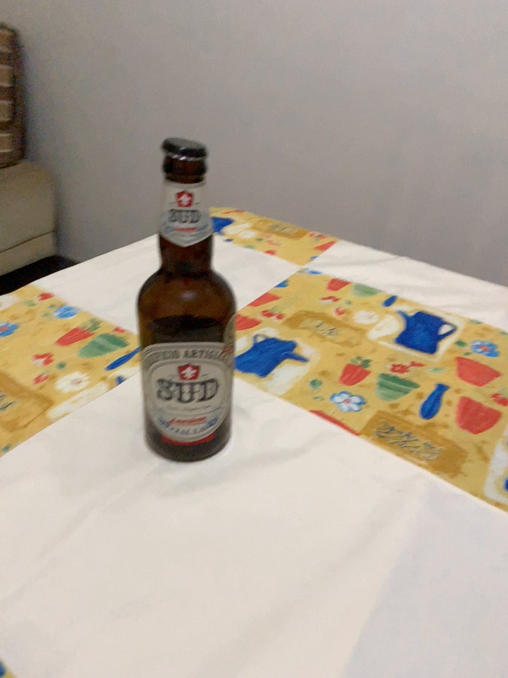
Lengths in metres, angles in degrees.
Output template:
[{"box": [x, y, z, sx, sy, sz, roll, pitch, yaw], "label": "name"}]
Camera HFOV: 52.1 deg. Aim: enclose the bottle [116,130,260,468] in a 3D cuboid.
[{"box": [-0.049, -0.019, 0.384, 0.080, 0.239, 0.070, -2, 32, -10], "label": "bottle"}]
